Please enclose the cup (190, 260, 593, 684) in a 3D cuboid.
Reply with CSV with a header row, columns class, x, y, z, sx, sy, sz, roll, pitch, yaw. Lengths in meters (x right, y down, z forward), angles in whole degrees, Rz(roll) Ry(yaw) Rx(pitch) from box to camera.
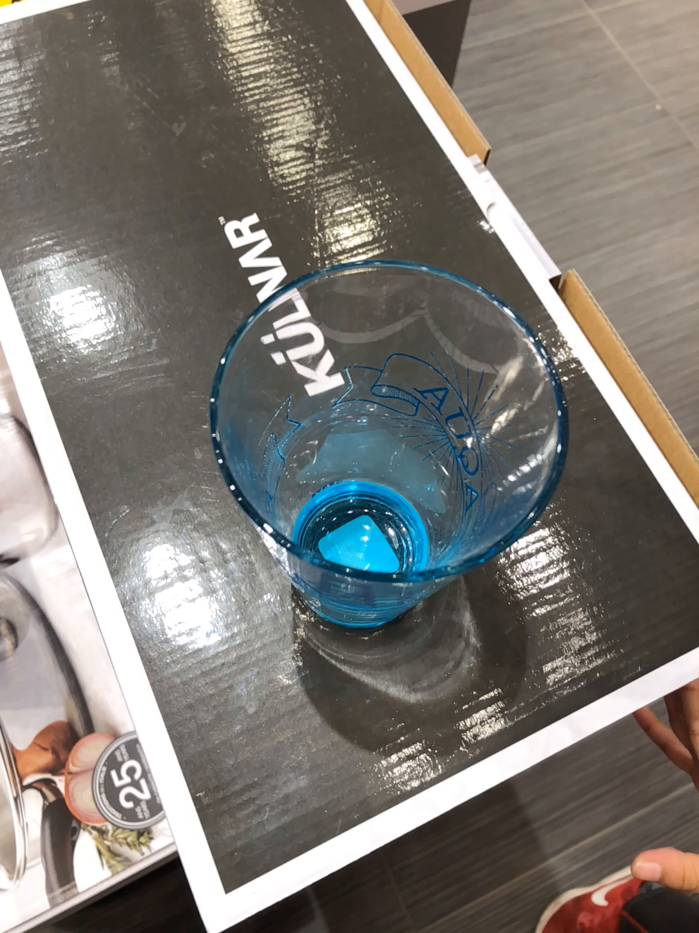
class,x,y,z,sx,sy,sz,roll,pitch,yaw
cup,0.003,0.010,0.220,0.080,0.110,0.080,1,67,-3
